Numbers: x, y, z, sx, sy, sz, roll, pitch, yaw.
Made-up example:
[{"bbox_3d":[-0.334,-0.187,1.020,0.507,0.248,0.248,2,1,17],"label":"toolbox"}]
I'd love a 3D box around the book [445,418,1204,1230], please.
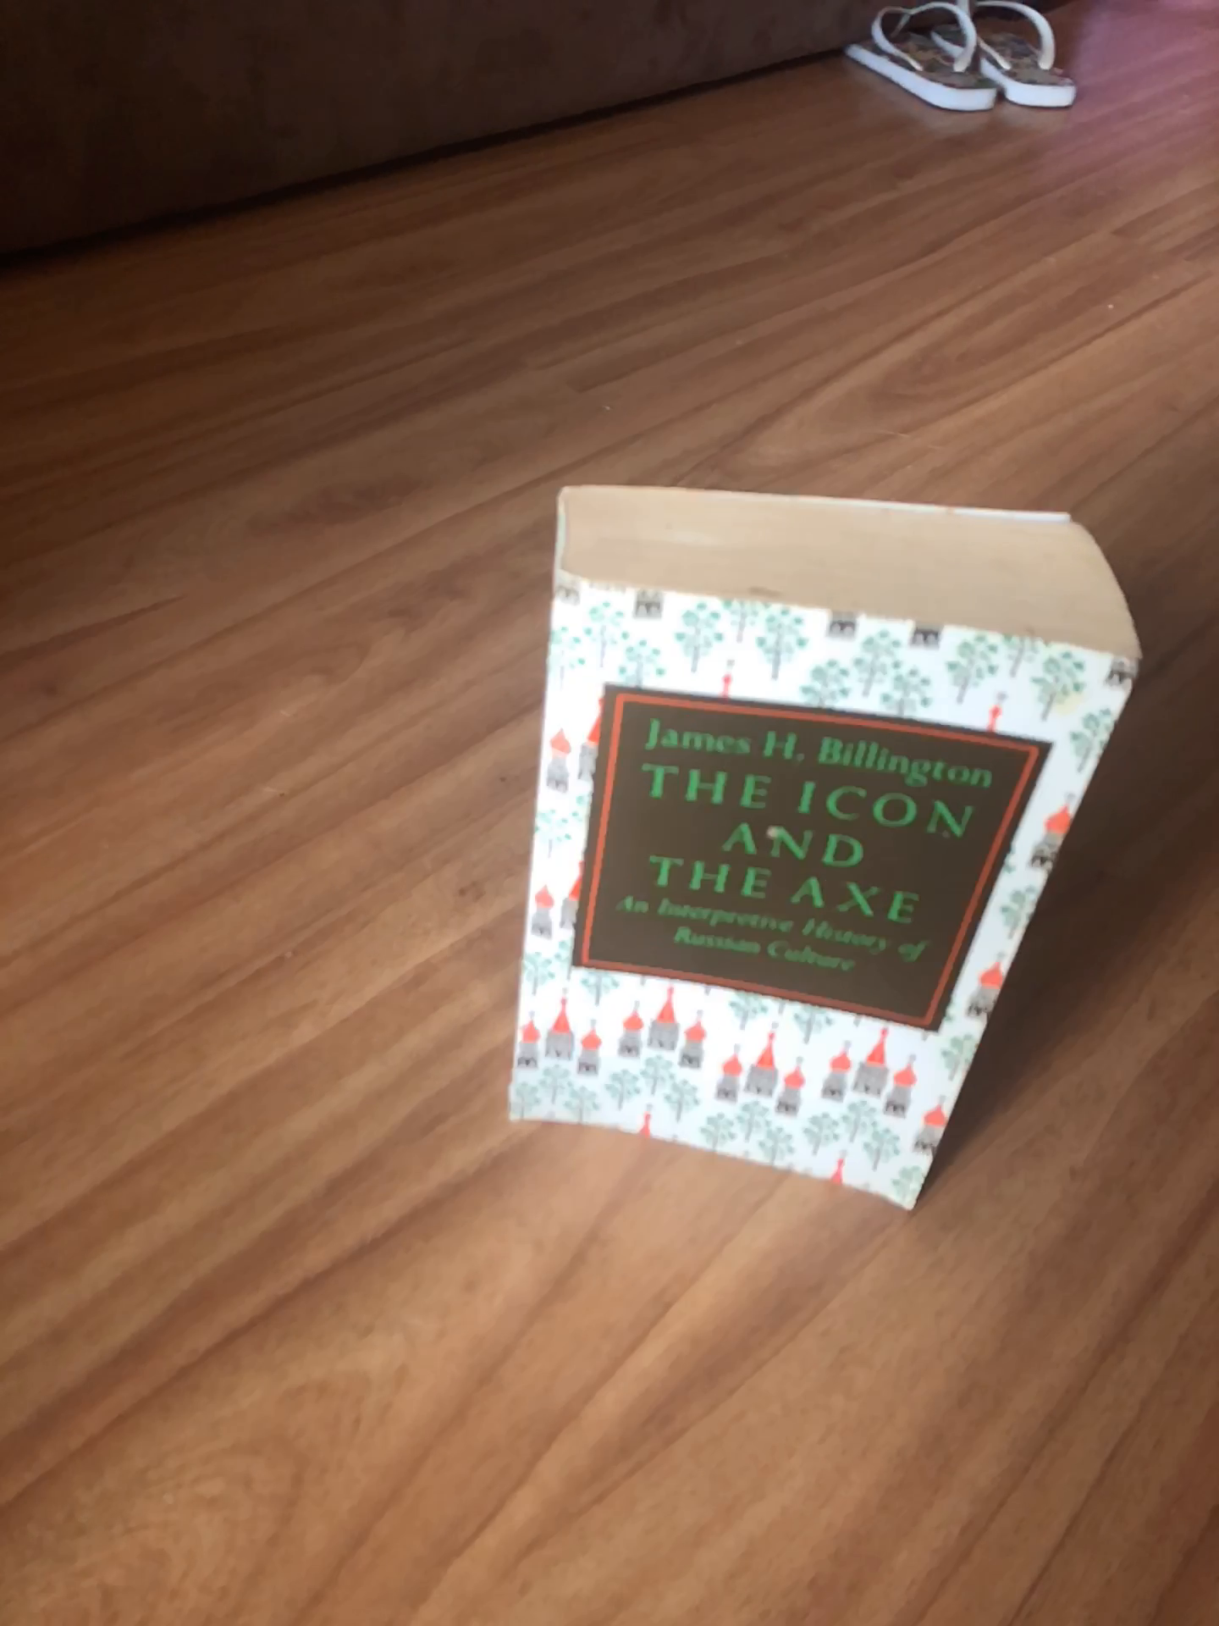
[{"bbox_3d":[0.038,0.014,0.351,0.150,0.199,0.060,10,40,4],"label":"book"}]
